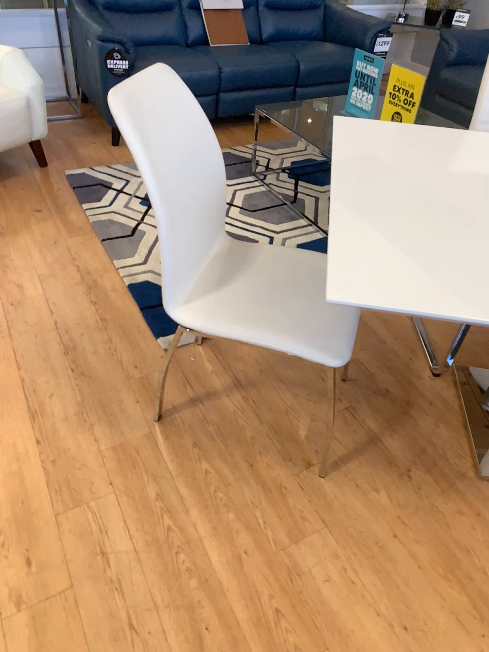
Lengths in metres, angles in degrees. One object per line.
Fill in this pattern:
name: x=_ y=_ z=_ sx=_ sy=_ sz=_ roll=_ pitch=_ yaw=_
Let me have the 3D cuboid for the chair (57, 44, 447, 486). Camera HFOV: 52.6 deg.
chair: x=0.027 y=-0.143 z=1.293 sx=0.671 sy=0.881 sz=0.494 roll=16 pitch=42 yaw=12
